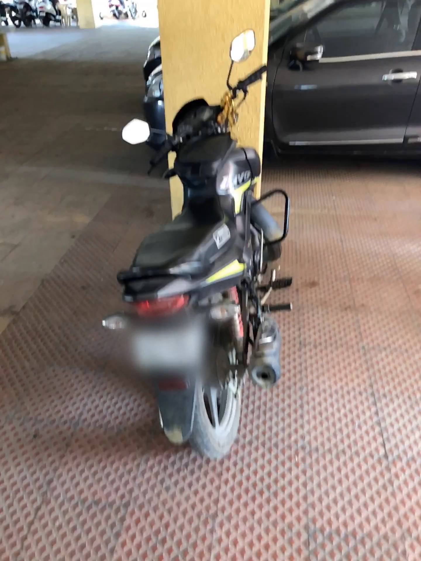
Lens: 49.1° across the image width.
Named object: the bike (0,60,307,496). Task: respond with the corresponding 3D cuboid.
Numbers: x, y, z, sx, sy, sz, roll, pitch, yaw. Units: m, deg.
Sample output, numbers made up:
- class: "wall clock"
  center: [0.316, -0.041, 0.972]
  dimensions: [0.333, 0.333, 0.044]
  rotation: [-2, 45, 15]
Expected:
- class: "bike"
  center: [-0.028, -0.203, 1.934]
  dimensions: [0.716, 1.087, 1.631]
  rotation: [4, 34, 8]
